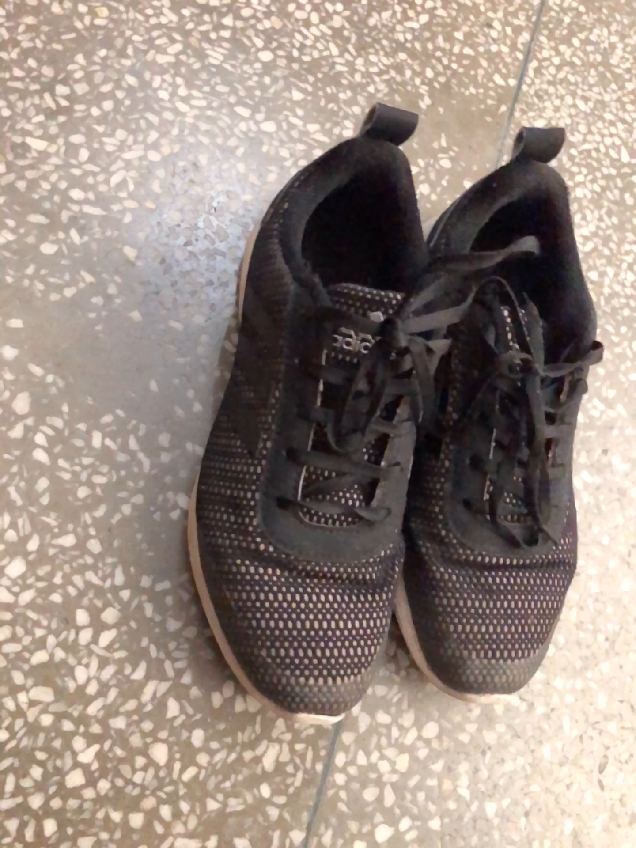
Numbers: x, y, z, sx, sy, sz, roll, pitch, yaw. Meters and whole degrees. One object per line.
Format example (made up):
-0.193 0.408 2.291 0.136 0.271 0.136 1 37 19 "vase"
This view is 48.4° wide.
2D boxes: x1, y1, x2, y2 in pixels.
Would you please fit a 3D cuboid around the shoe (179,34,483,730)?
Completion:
0.002 -0.020 0.319 0.100 0.080 0.280 6 73 -16 "shoe"

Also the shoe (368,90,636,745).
0.088 -0.004 0.329 0.100 0.080 0.270 8 72 -15 "shoe"
